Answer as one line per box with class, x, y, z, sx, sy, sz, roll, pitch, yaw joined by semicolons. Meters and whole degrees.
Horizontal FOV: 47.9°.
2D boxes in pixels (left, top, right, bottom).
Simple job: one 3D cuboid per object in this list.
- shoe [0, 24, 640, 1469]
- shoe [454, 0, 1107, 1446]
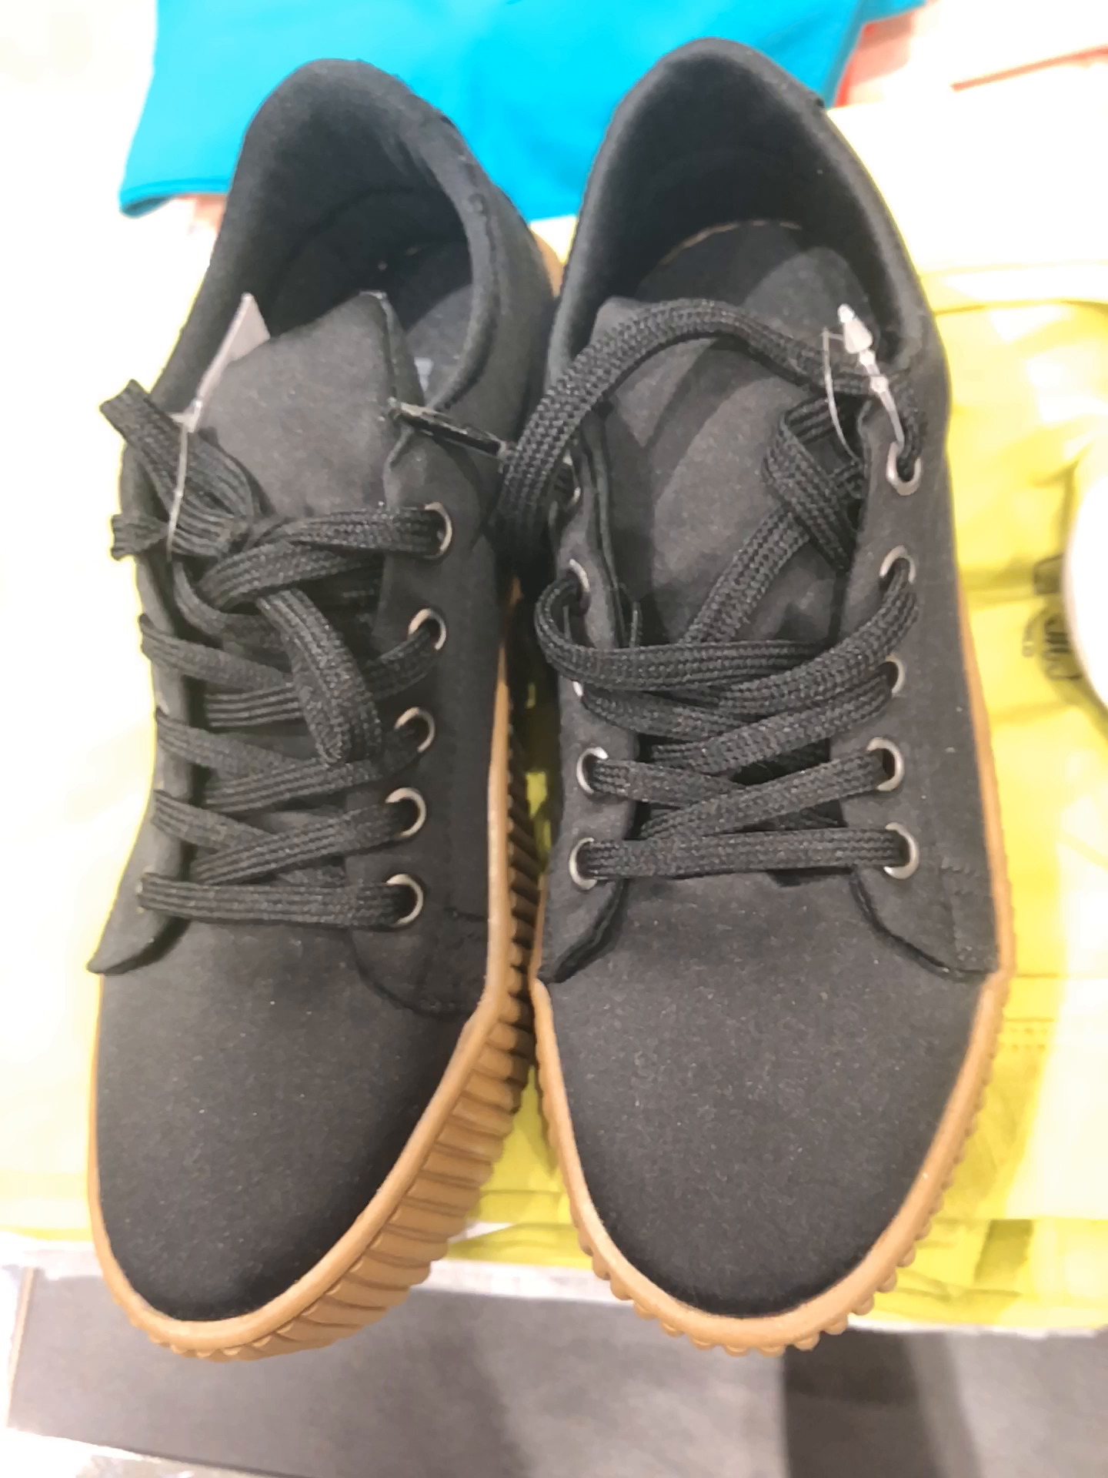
shoe;-0.043;-0.008;0.238;0.090;0.080;0.230;3;75;11
shoe;0.042;-0.018;0.230;0.090;0.080;0.240;-1;75;10
